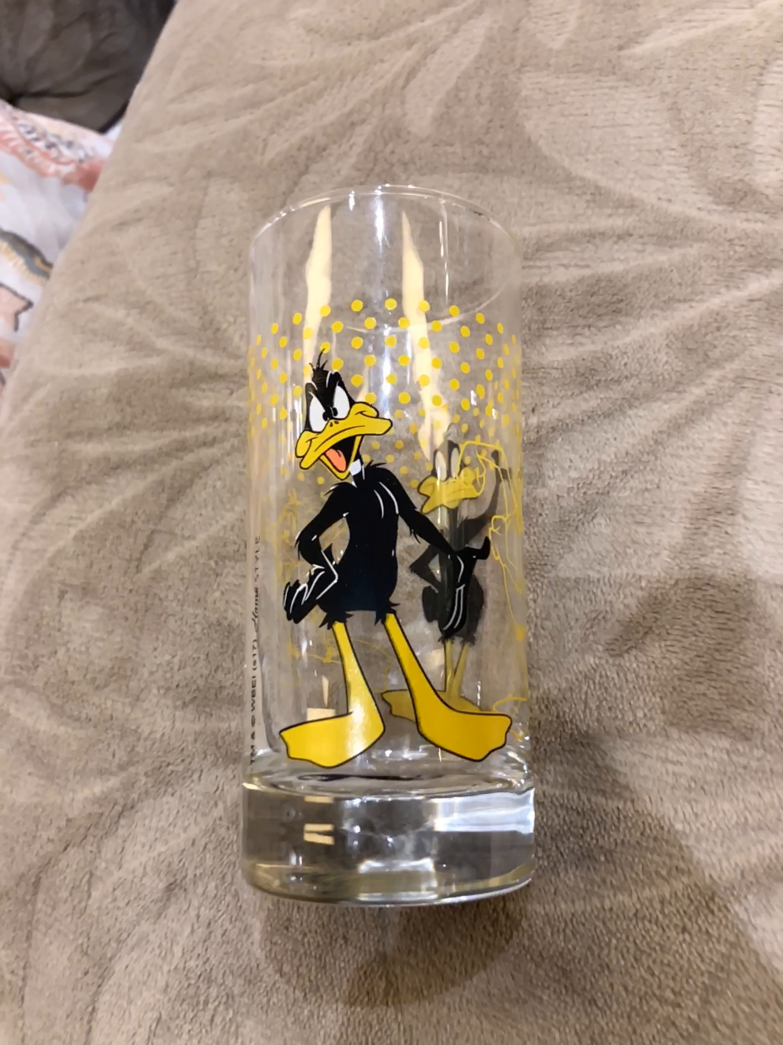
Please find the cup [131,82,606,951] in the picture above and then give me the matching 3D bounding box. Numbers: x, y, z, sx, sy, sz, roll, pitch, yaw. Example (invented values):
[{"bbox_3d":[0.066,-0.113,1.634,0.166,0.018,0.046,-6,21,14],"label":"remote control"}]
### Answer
[{"bbox_3d":[0.002,0.000,0.191,0.070,0.070,0.160,-6,68,15],"label":"cup"}]
